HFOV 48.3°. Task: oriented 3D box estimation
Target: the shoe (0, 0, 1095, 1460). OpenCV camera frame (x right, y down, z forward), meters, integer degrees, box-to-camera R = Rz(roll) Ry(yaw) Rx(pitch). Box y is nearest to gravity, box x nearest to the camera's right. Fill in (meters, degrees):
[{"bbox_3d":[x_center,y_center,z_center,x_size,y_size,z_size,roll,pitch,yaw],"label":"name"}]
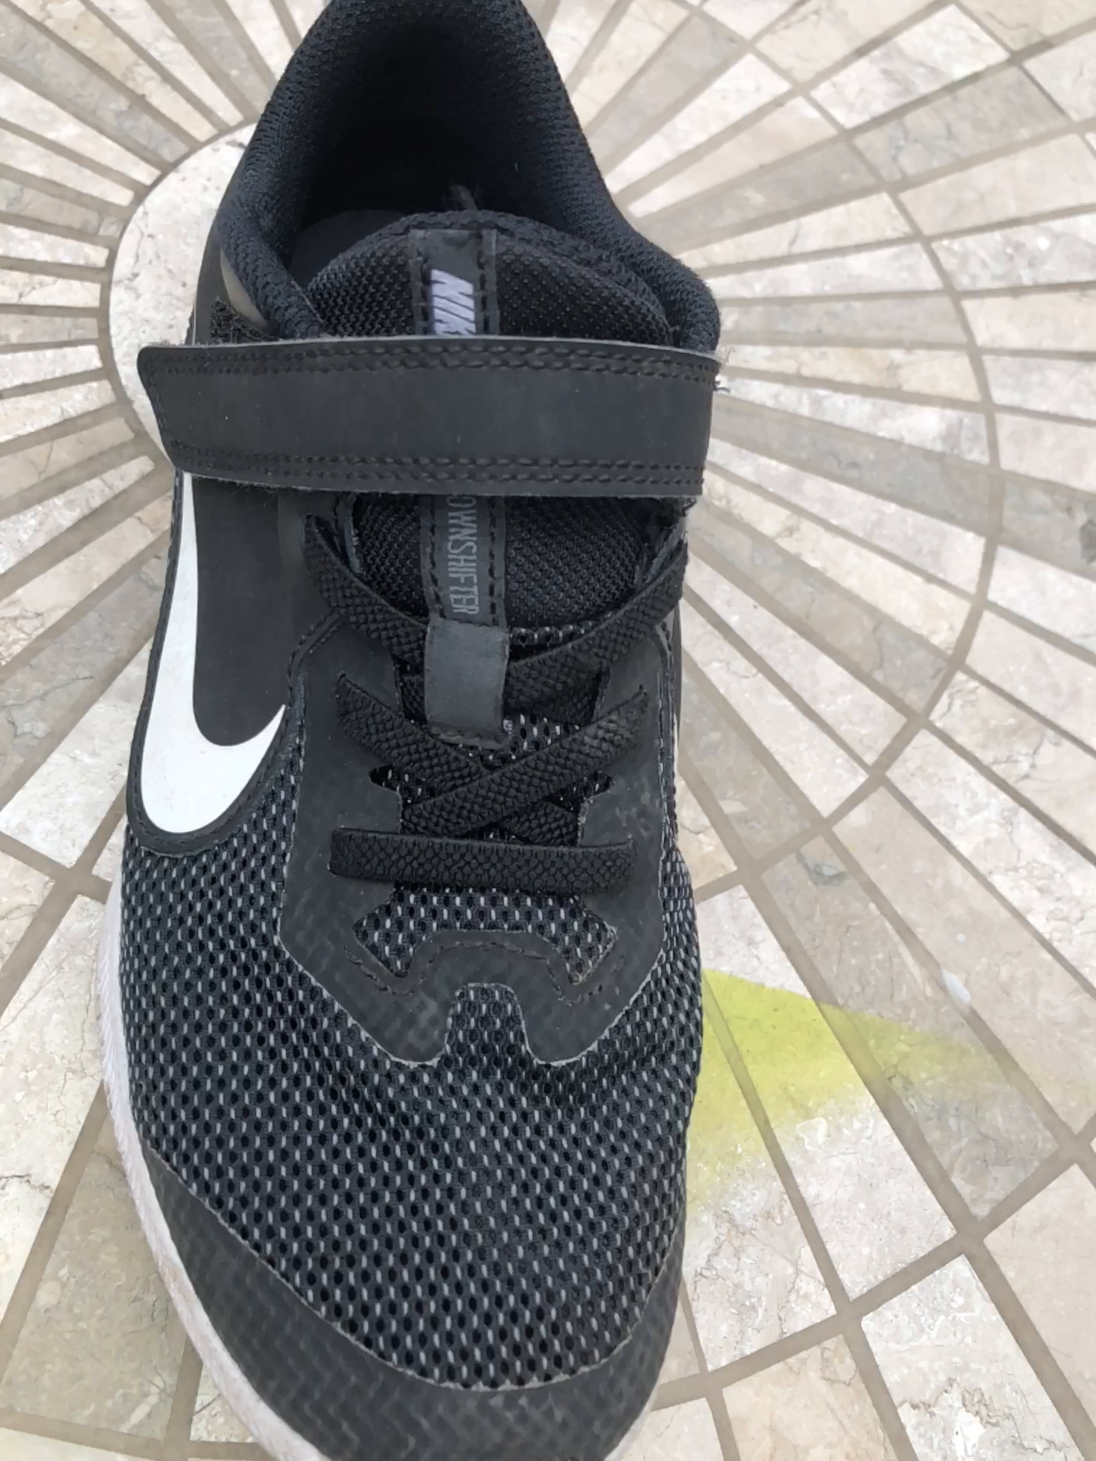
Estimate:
[{"bbox_3d":[-0.018,-0.011,0.188,0.100,0.100,0.251,0,69,-13],"label":"shoe"}]
